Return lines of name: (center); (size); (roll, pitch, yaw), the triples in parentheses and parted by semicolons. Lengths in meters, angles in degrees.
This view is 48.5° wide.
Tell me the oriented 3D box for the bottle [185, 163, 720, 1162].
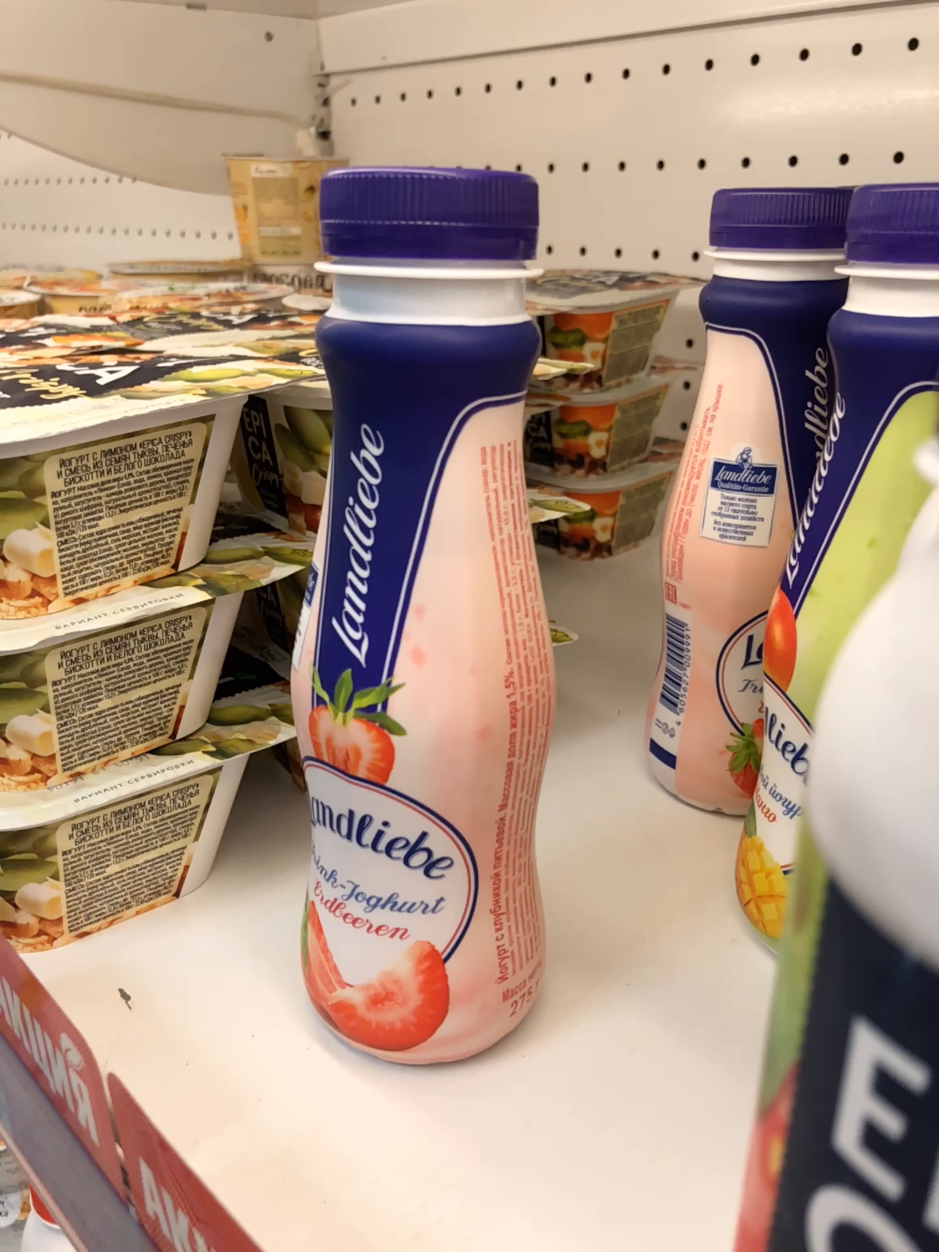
bottle: (-0.003, 0.004, 0.227); (0.070, 0.189, 0.070); (0, 21, 0)
